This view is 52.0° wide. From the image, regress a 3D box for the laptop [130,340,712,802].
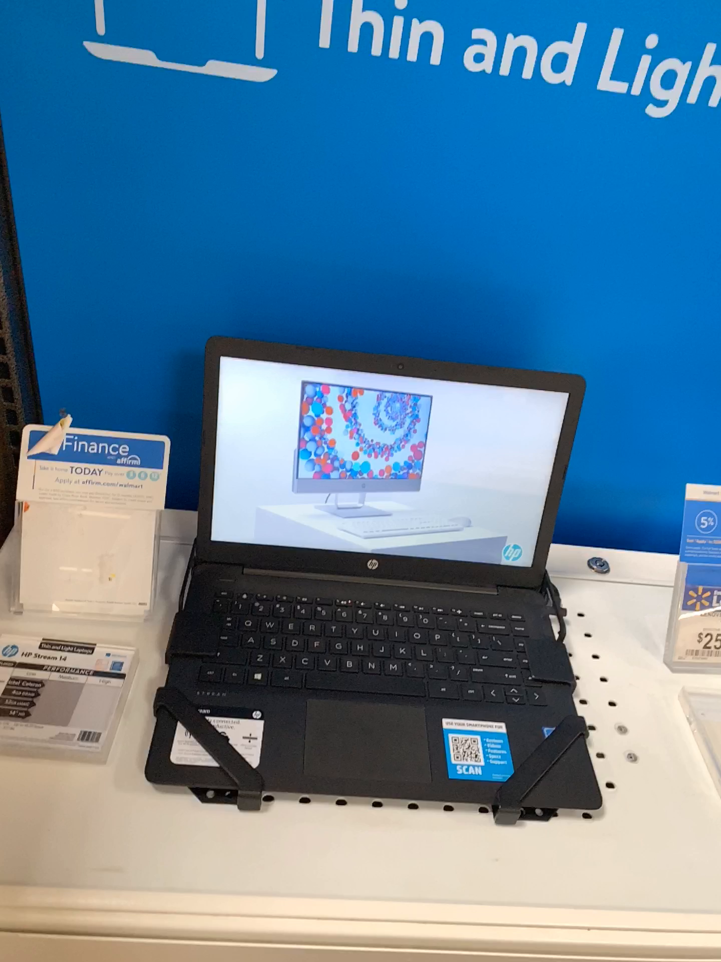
[{"bbox_3d":[0.024,0.059,0.575,0.326,0.203,0.270,5,35,-5],"label":"laptop"}]
